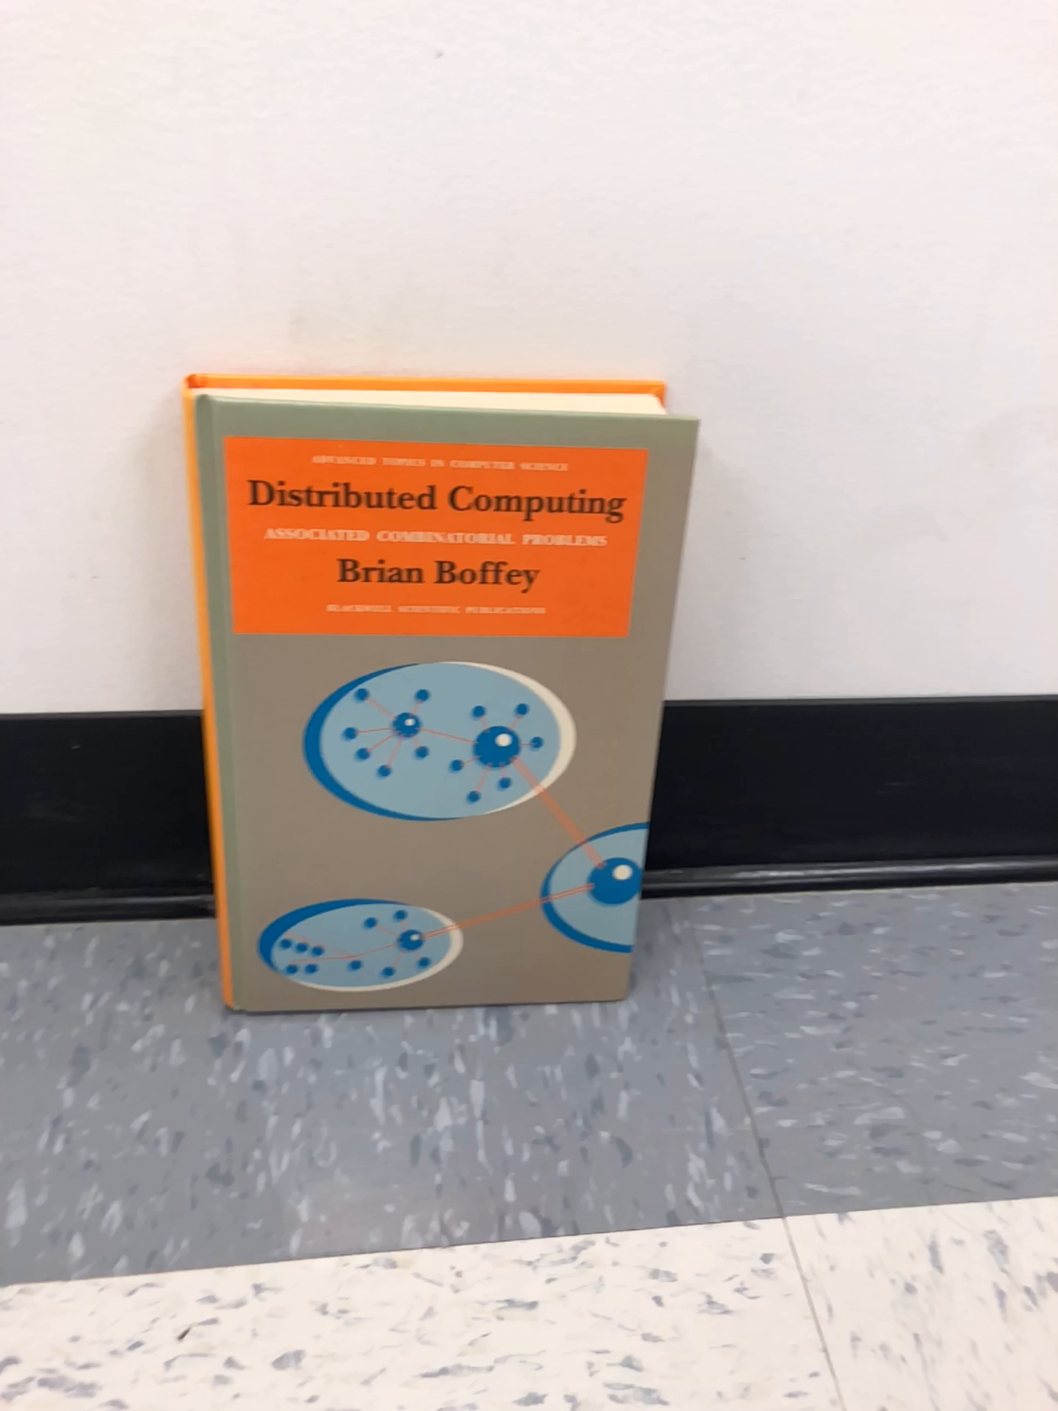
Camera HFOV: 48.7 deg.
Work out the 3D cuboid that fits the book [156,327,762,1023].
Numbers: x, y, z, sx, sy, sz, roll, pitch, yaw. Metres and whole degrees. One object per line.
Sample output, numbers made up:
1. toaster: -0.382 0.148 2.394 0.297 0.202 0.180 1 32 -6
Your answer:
1. book: -0.026 0.000 0.406 0.170 0.239 0.050 0 28 -7
